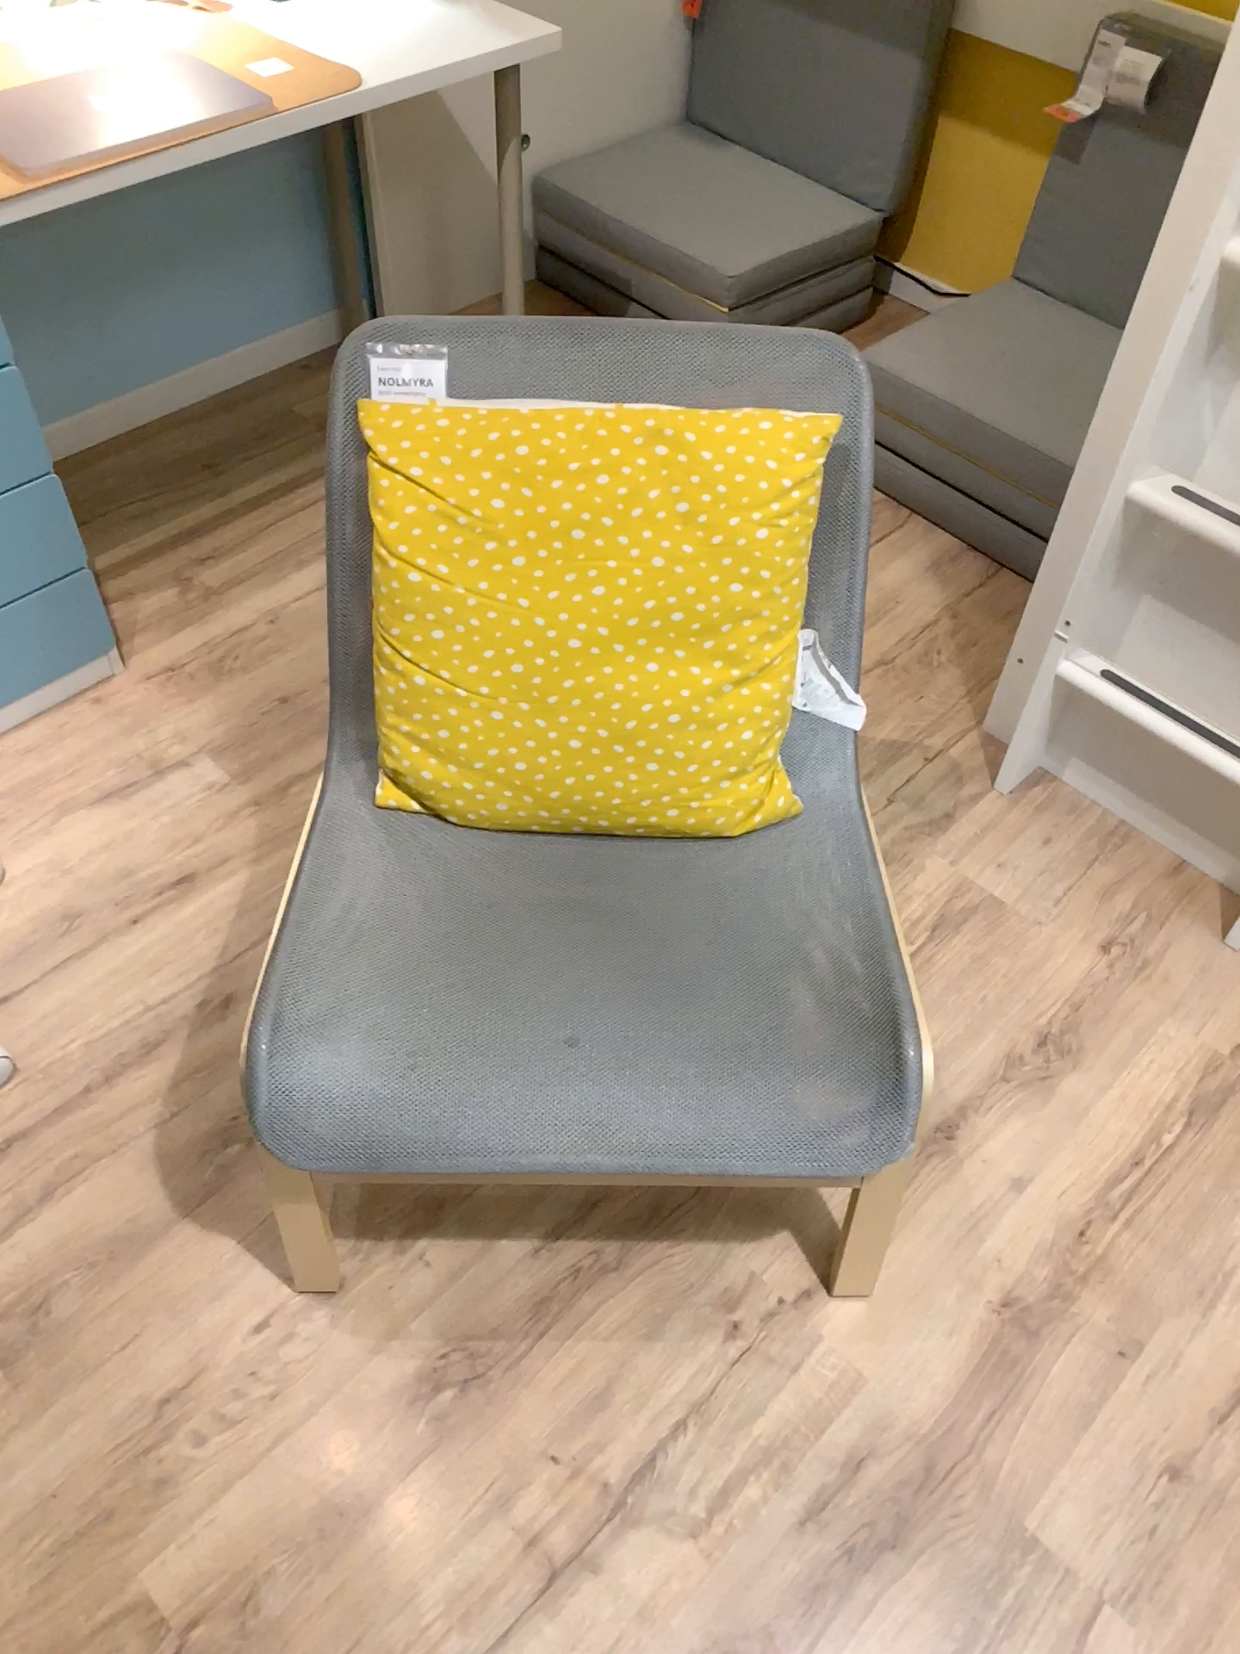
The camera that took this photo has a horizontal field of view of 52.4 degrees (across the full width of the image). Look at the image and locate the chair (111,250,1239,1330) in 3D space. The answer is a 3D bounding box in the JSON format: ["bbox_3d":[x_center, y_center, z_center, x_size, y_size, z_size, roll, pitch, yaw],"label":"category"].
[{"bbox_3d":[0.032,-0.015,1.154,0.630,0.708,0.672,1,47,-2],"label":"chair"}]
